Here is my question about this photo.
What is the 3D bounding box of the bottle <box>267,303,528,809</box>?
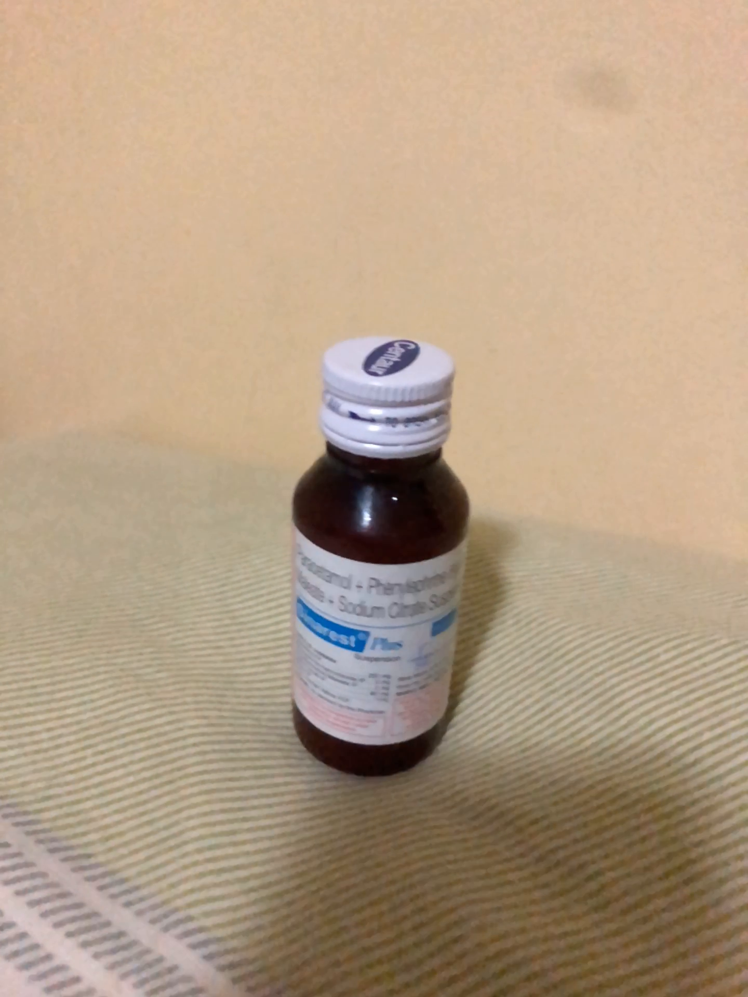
[{"bbox_3d":[0.004,0.013,0.188,0.040,0.100,0.040,3,29,-2],"label":"bottle"}]
